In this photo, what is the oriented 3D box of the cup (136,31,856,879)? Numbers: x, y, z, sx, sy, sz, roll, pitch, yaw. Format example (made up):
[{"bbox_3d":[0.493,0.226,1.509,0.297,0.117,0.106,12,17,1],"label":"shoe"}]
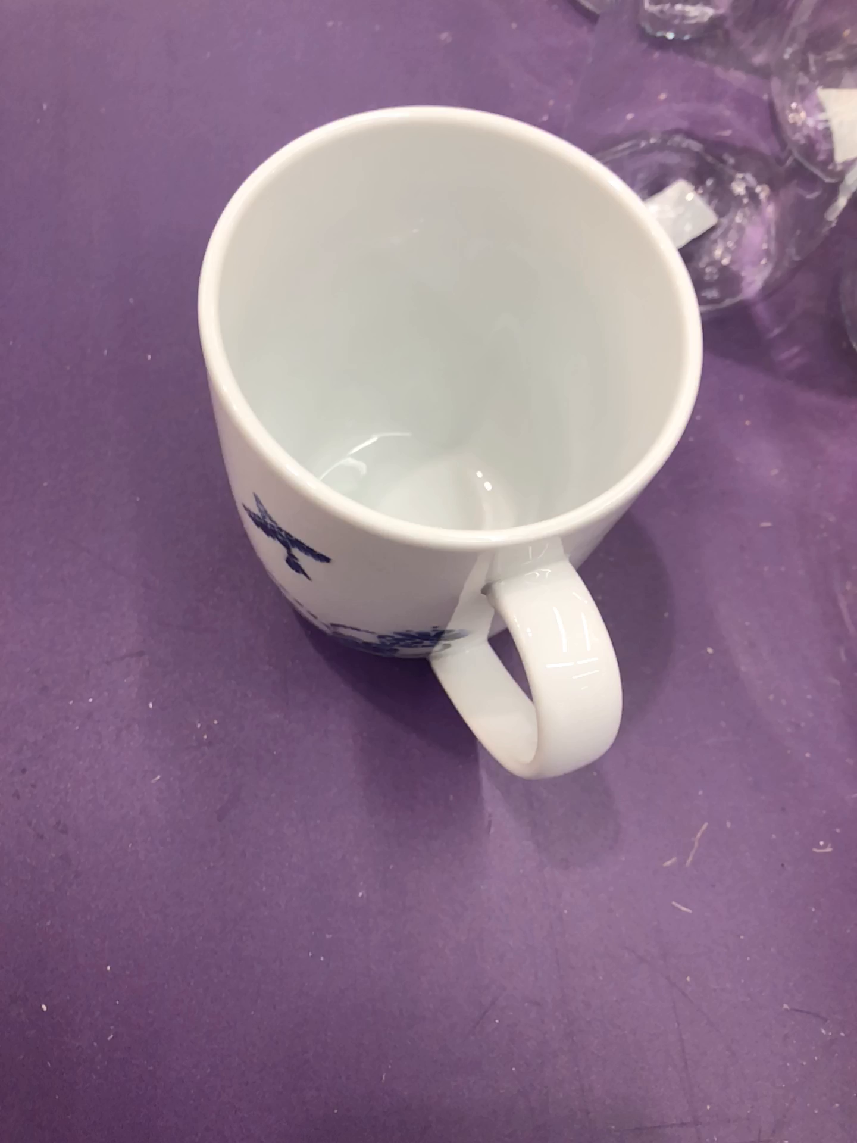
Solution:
[{"bbox_3d":[0.009,-0.017,0.227,0.100,0.120,0.140,-17,73,-12],"label":"cup"}]
